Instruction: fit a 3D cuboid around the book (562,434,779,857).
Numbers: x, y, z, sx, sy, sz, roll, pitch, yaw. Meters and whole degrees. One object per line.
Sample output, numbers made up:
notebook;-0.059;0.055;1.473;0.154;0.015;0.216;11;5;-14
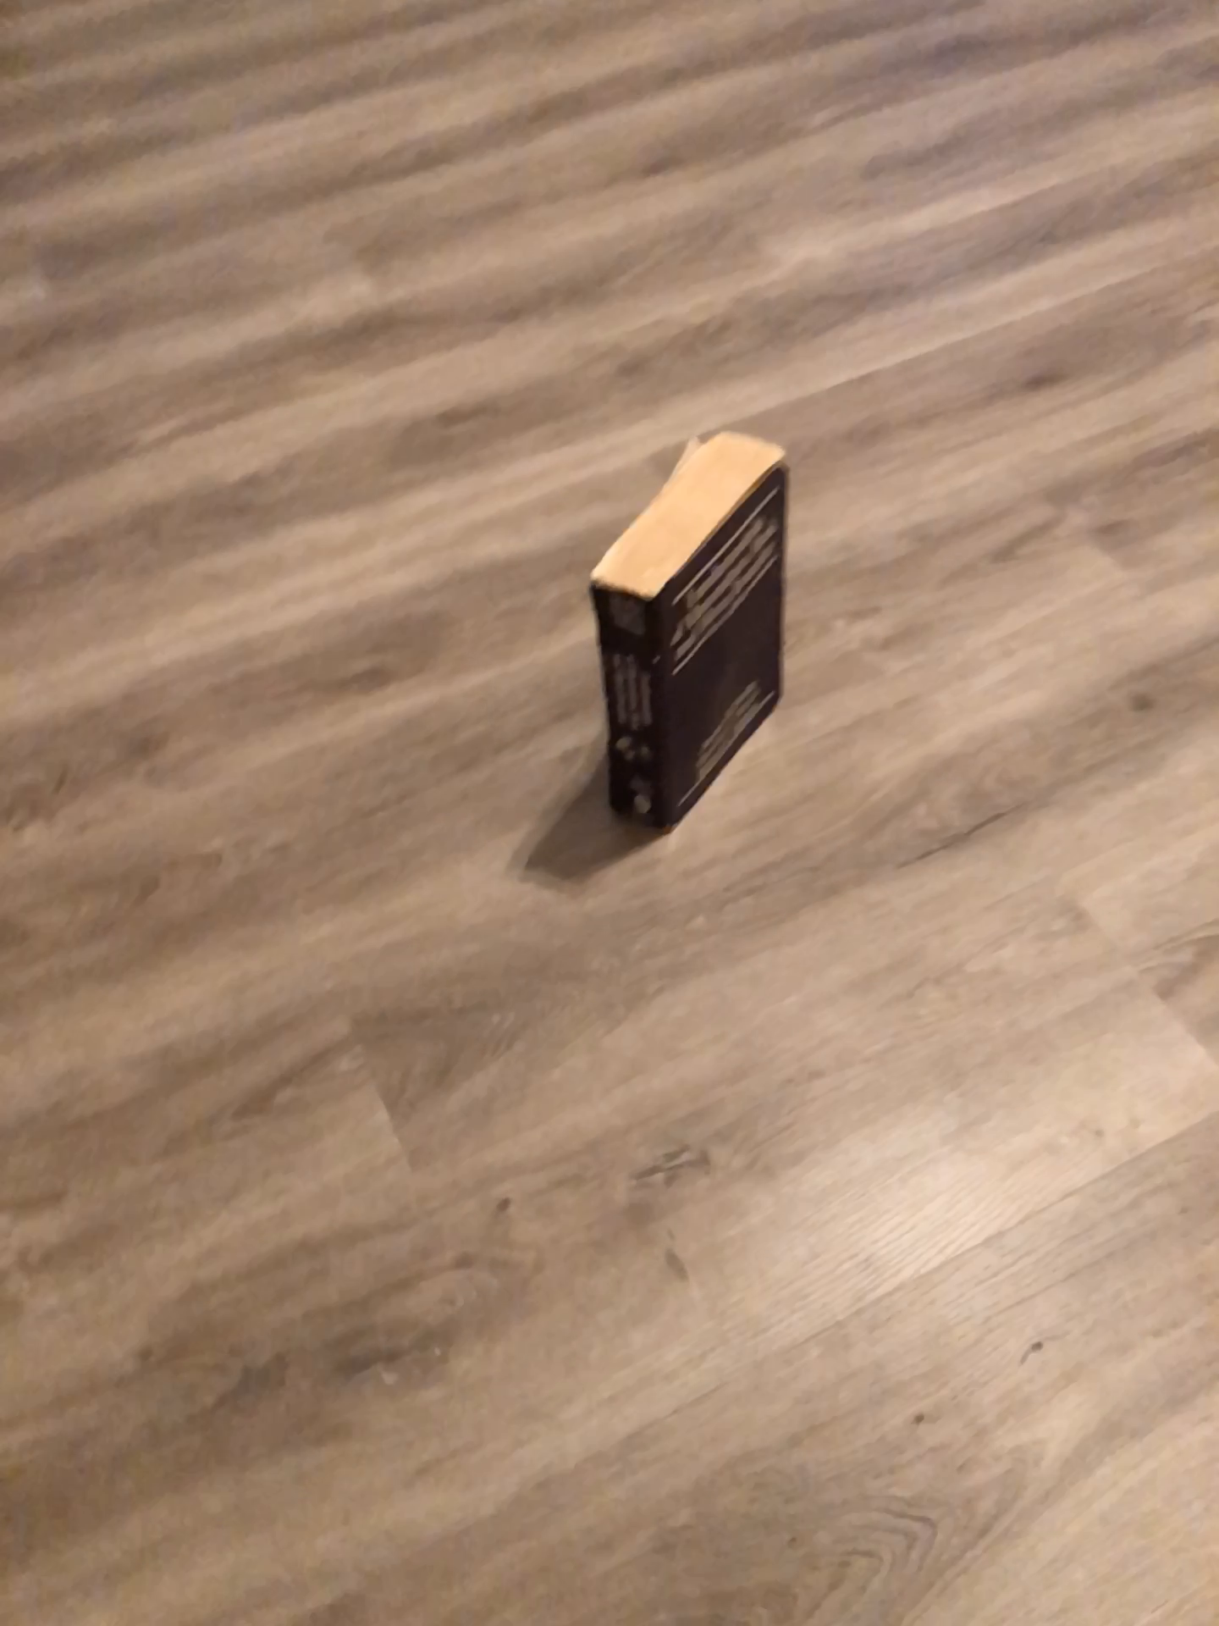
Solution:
book;0.049;-0.104;0.876;0.060;0.219;0.155;22;57;23
